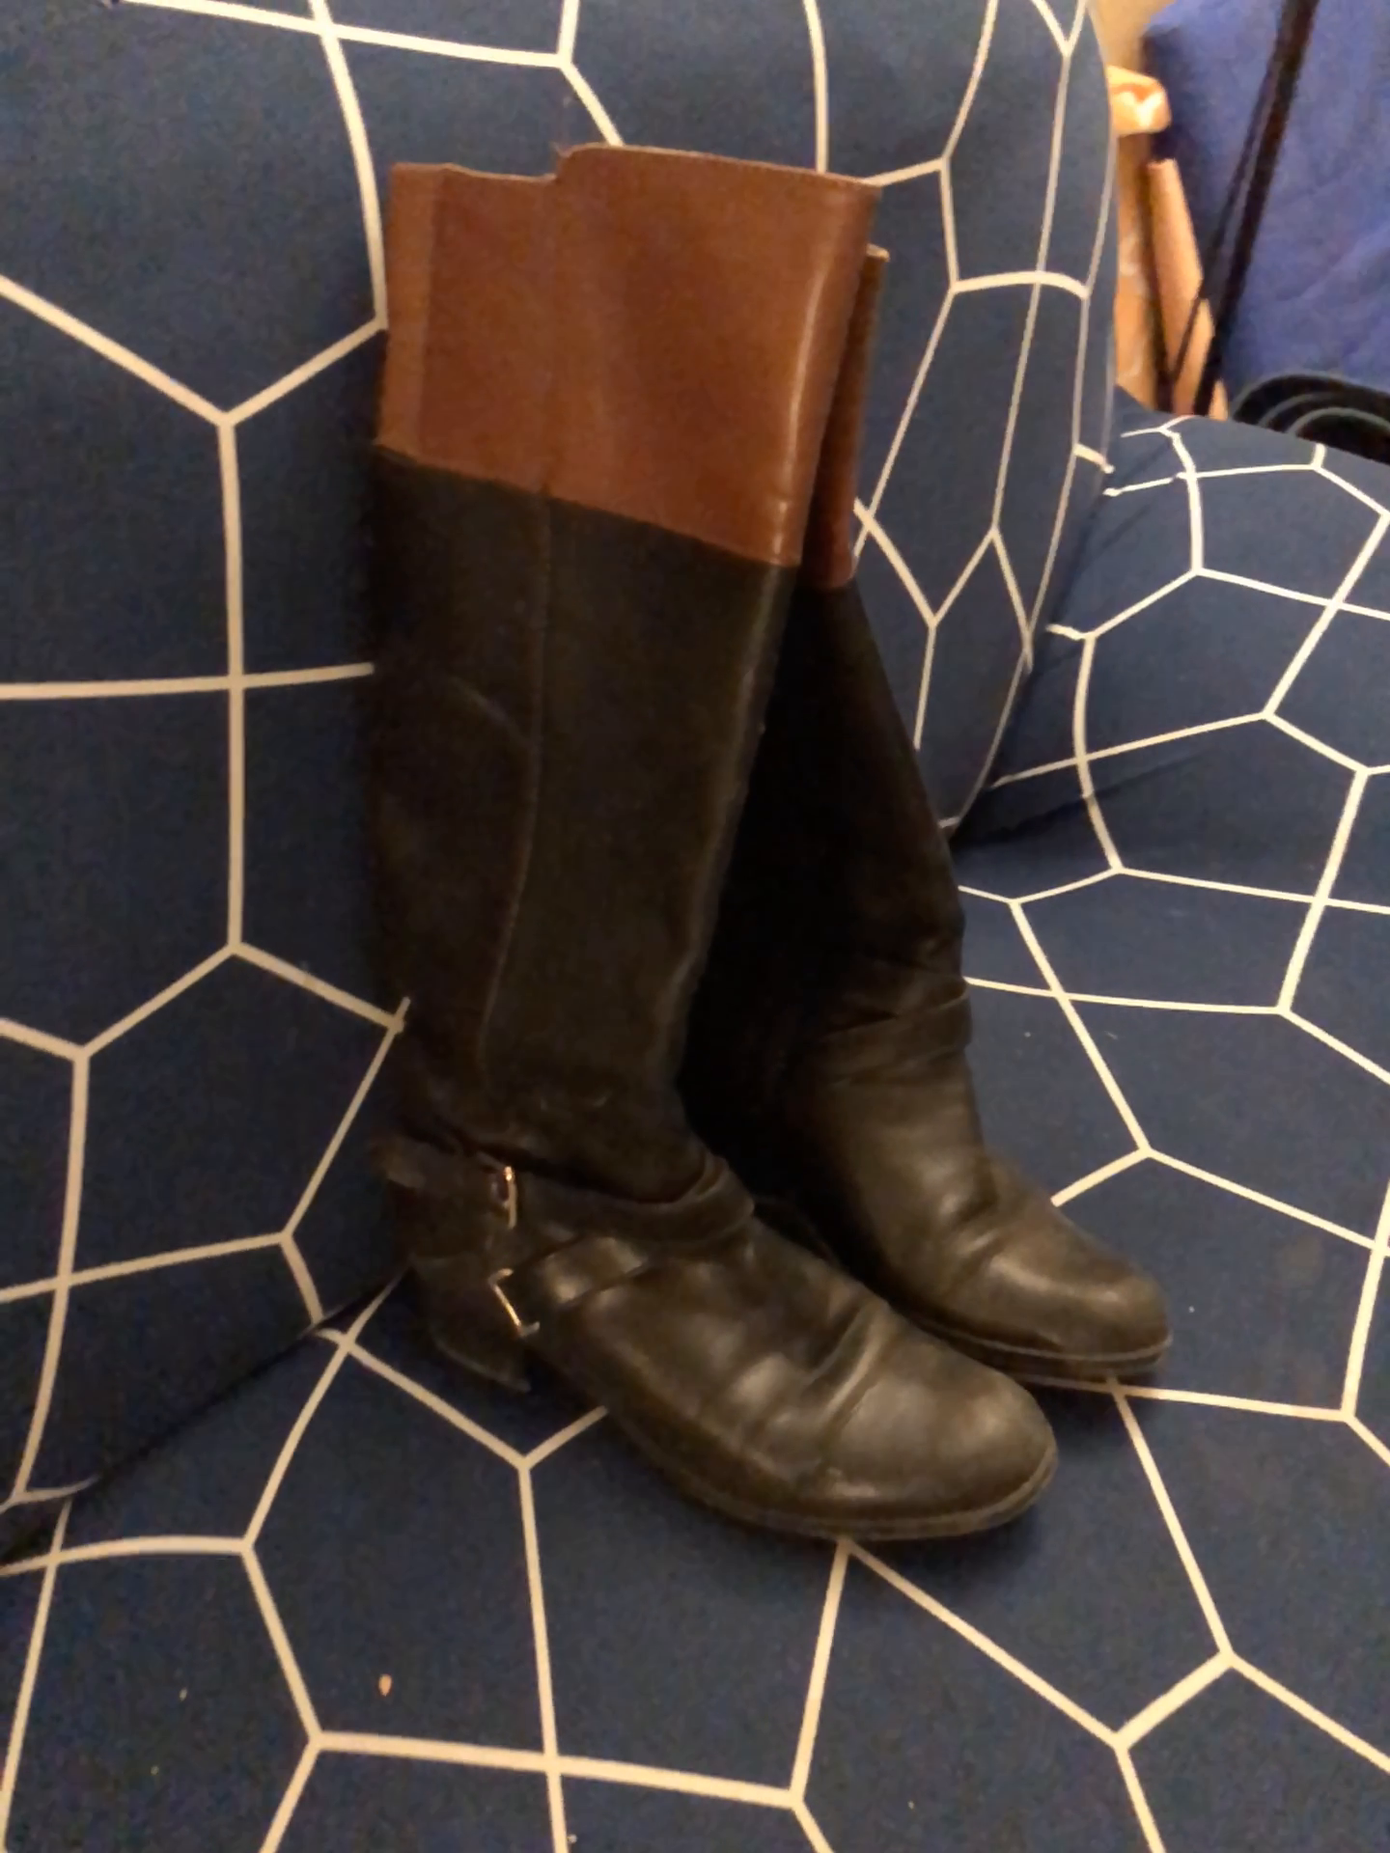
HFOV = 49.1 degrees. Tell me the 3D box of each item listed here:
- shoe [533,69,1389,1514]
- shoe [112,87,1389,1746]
[{"bbox_3d":[0.072,-0.033,0.484,0.100,0.378,0.251,-27,47,-30],"label":"shoe"},{"bbox_3d":[-0.007,0.010,0.460,0.271,0.427,0.110,28,44,31],"label":"shoe"}]
